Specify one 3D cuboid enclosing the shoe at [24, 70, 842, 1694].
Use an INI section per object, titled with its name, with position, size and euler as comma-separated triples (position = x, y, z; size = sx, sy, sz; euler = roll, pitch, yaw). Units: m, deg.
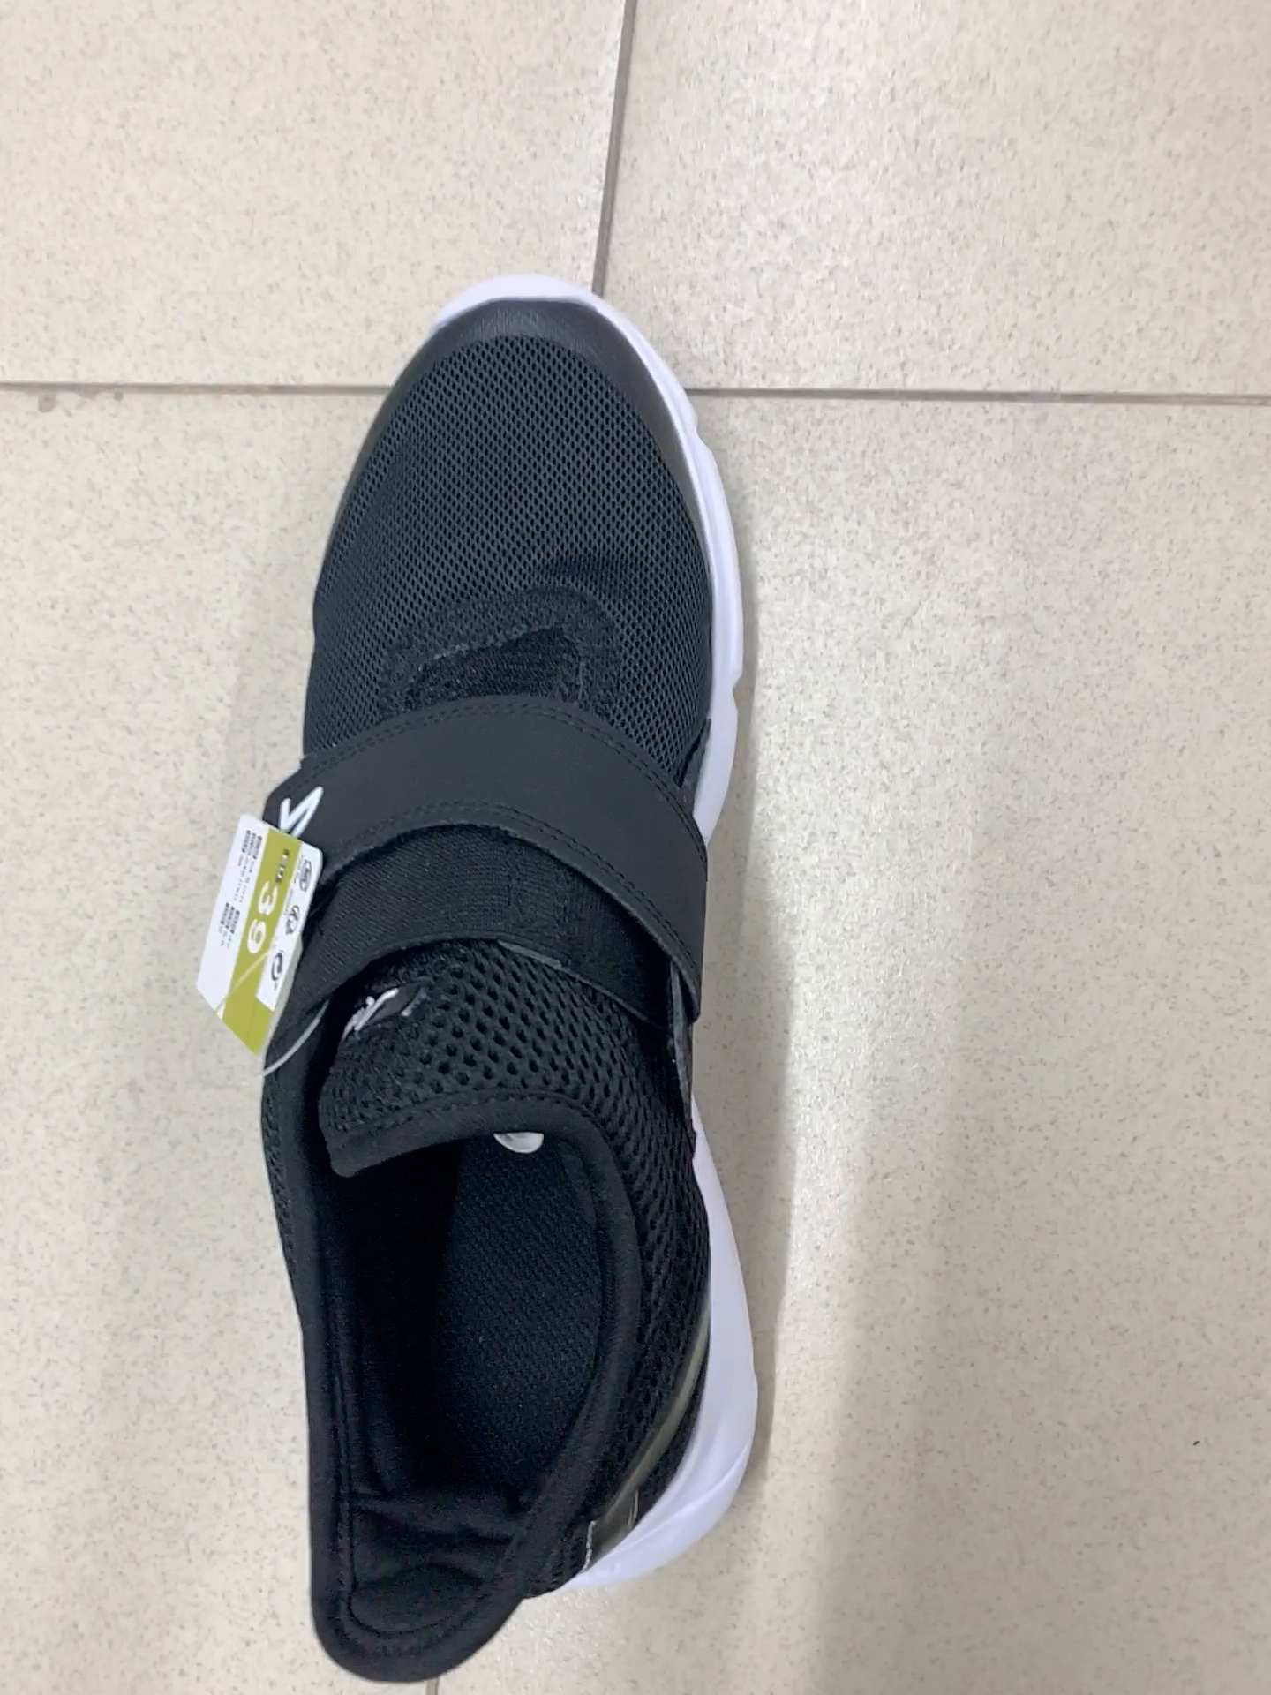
[shoe]
position = -0.031, 0.016, 0.246
size = 0.110, 0.100, 0.250
euler = -5, 84, 13
